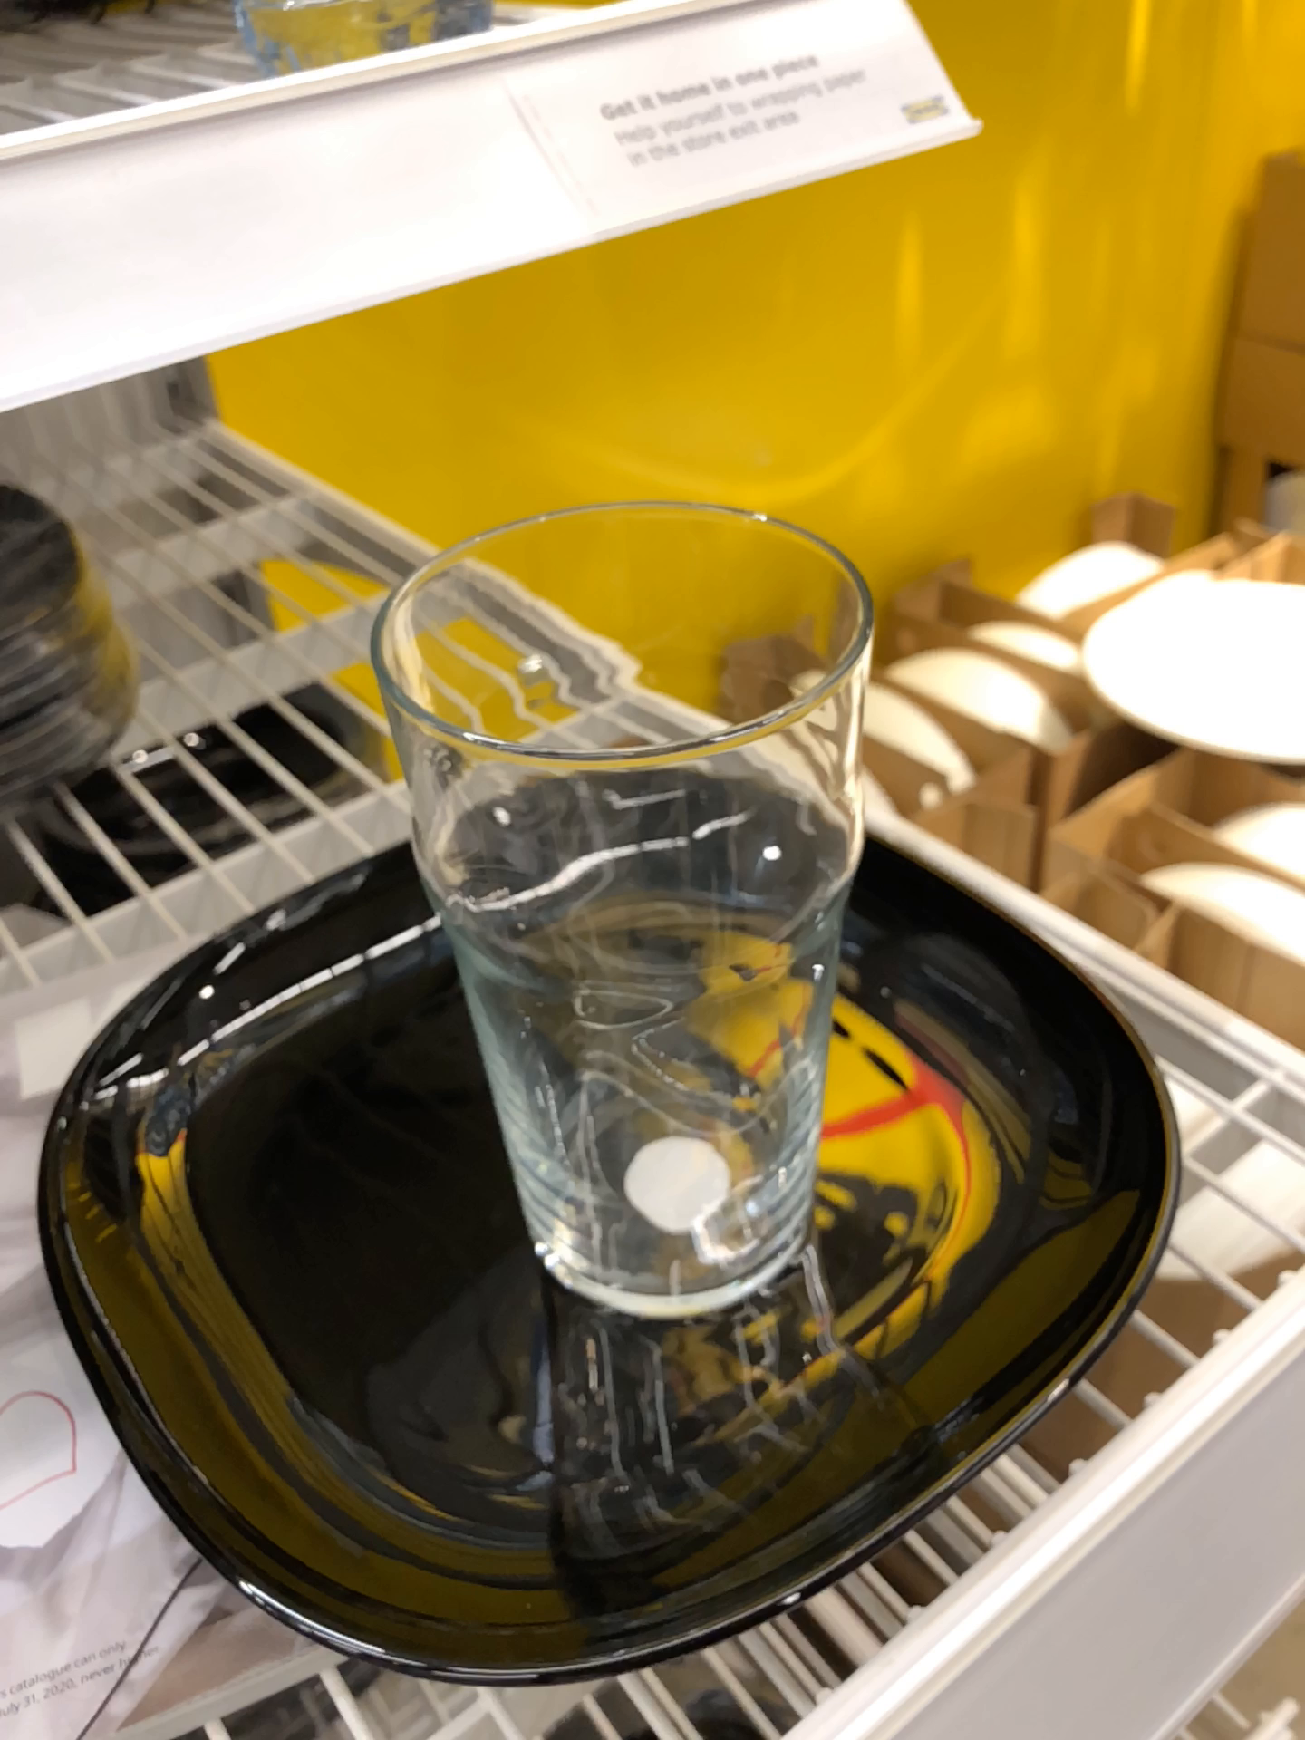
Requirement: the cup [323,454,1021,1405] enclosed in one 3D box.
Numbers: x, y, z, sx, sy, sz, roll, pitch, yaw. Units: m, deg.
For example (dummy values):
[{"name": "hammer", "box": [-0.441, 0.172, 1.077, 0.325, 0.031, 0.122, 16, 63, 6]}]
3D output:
[{"name": "cup", "box": [0.004, 0.010, 0.287, 0.090, 0.139, 0.090, -4, 35, 3]}]
